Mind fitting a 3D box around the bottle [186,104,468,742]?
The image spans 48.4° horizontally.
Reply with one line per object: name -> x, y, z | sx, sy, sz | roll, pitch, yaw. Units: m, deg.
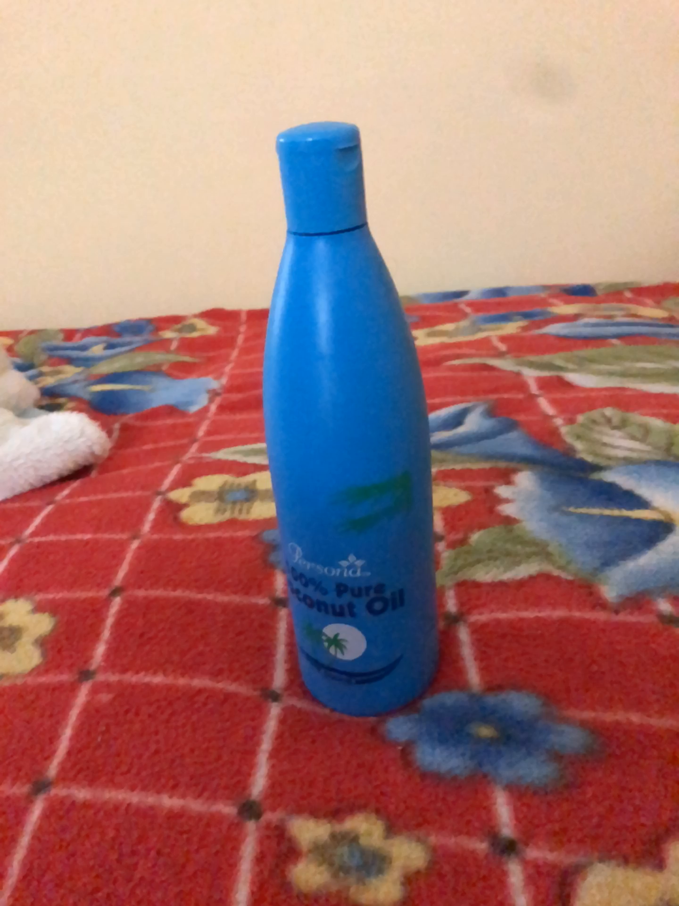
bottle -> 0.007, -0.006, 0.294 | 0.070, 0.229, 0.070 | -4, 25, 2
